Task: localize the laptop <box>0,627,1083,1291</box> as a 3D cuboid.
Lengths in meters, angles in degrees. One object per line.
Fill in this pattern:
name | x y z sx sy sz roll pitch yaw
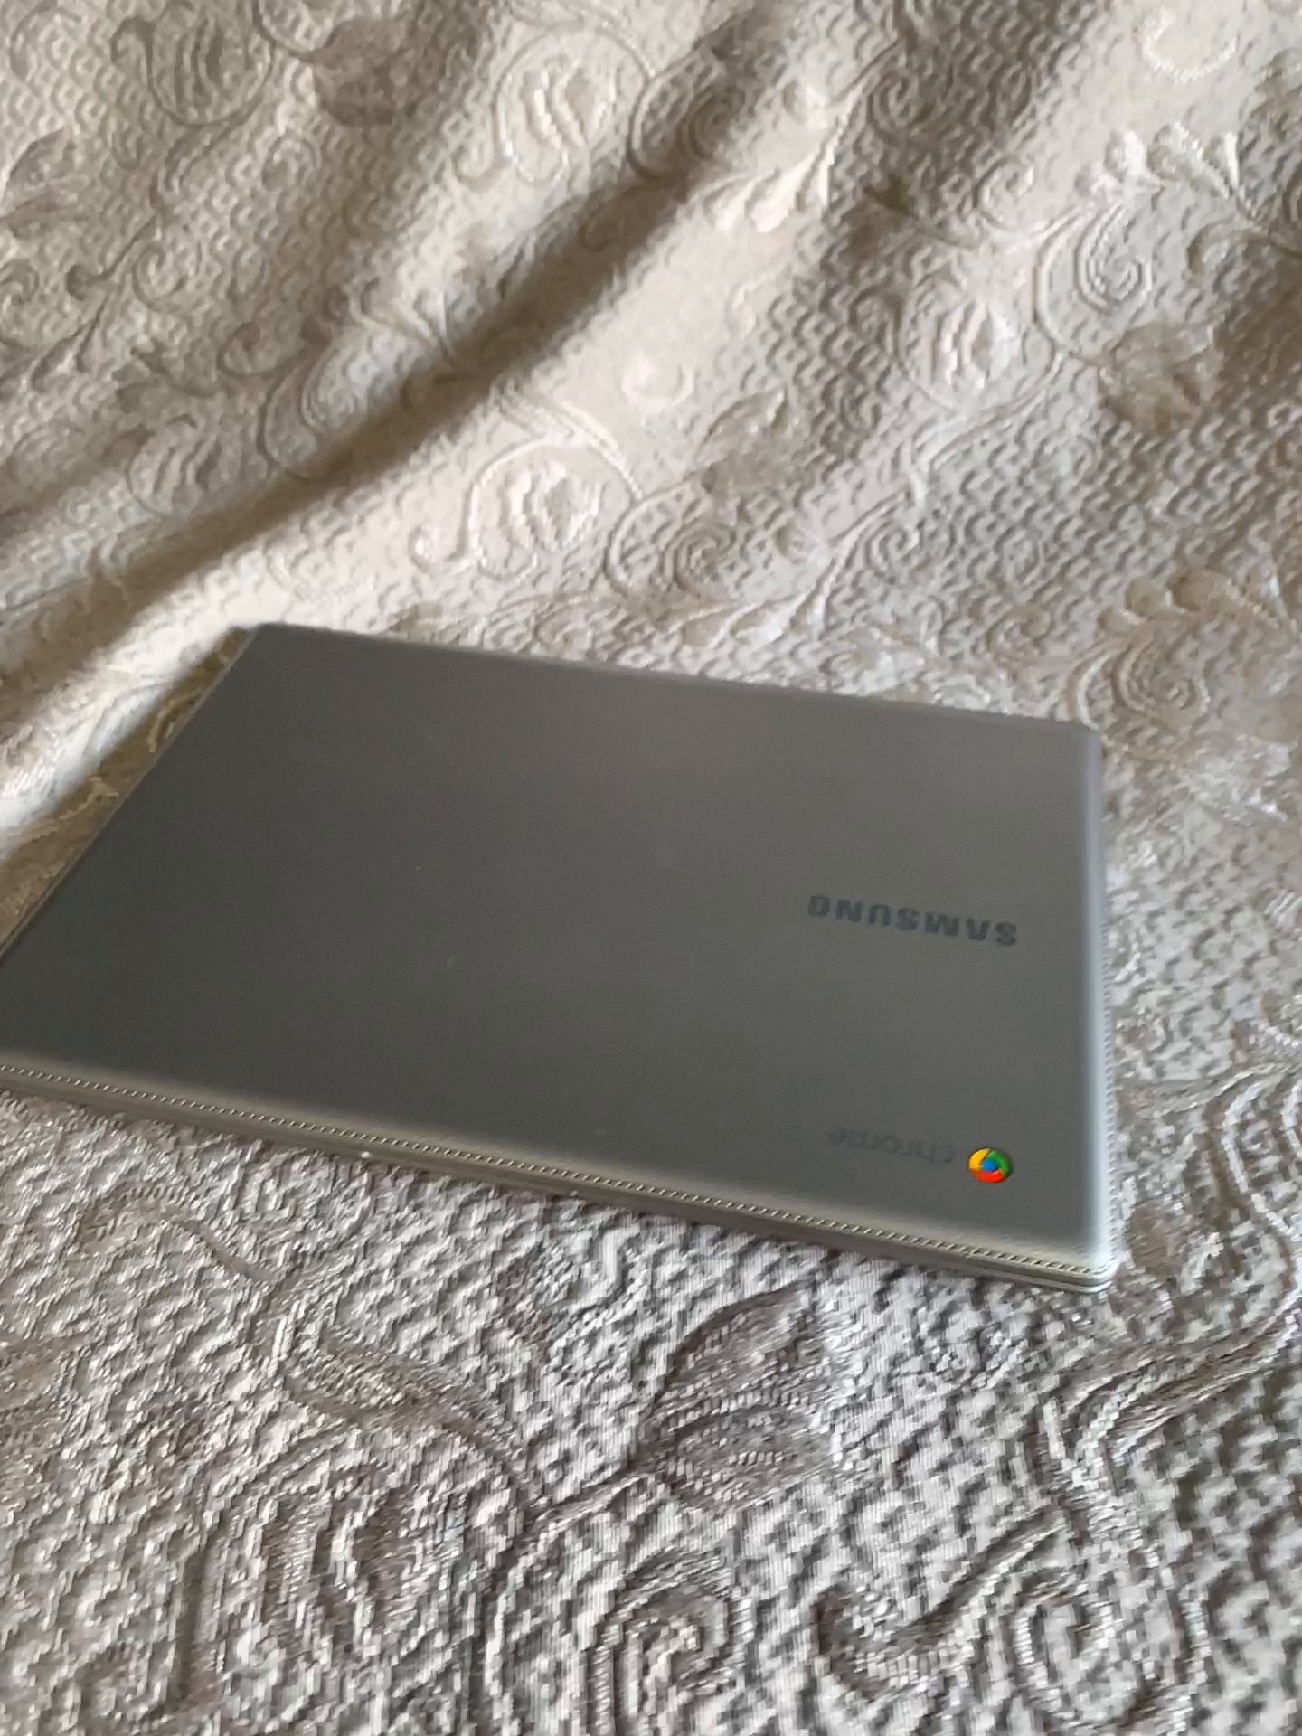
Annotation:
laptop | -0.022 0.005 0.362 0.264 0.005 0.176 8 47 9
